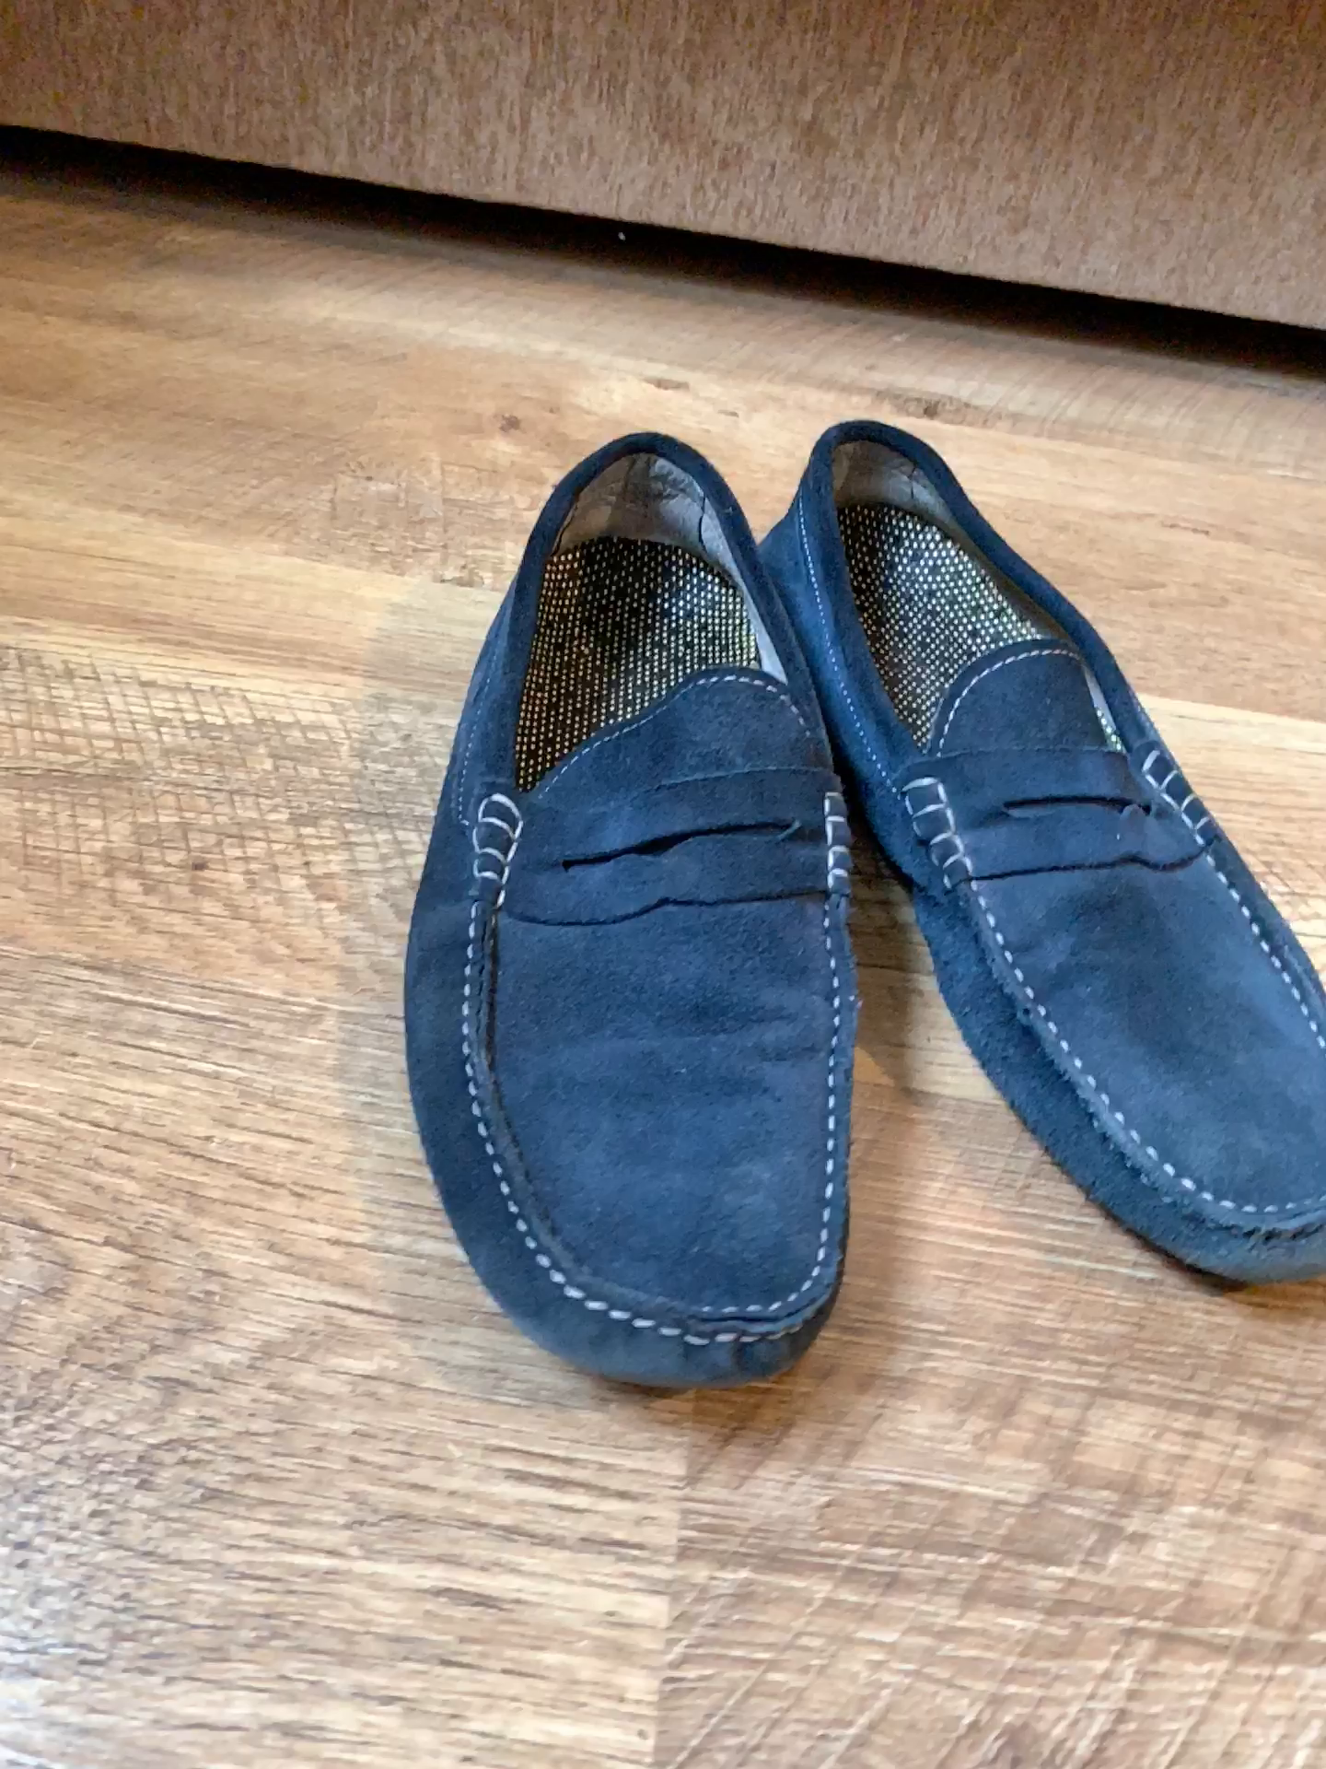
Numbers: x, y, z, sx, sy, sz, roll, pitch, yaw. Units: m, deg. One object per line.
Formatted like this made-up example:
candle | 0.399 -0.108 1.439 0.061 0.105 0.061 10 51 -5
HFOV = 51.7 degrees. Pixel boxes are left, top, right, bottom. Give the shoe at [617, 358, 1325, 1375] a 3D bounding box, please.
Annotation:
shoe | 0.086 -0.037 0.355 0.110 0.070 0.291 -9 47 -17

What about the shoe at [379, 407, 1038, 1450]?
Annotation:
shoe | -0.003 -0.016 0.326 0.100 0.070 0.271 2 44 -6
